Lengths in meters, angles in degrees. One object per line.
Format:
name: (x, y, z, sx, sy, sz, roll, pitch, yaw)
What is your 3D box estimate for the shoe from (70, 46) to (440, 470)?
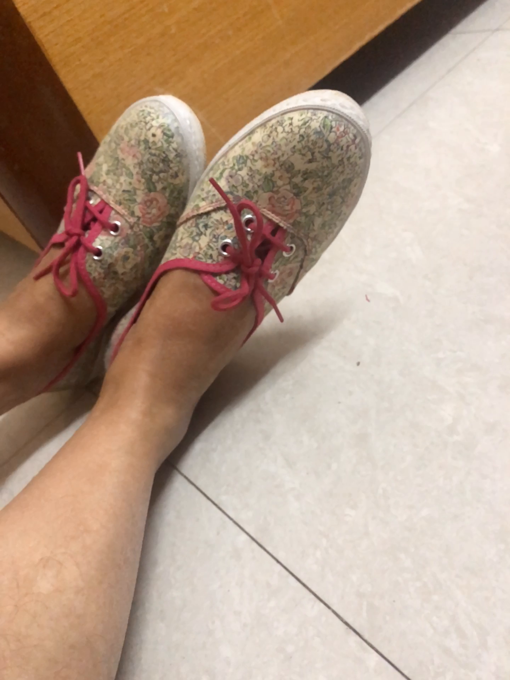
shoe: (-0.015, -0.035, 0.362, 0.259, 0.090, 0.070, -50, 16, 31)

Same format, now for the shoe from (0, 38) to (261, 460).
shoe: (-0.112, -0.044, 0.378, 0.259, 0.090, 0.070, -54, -13, 30)
